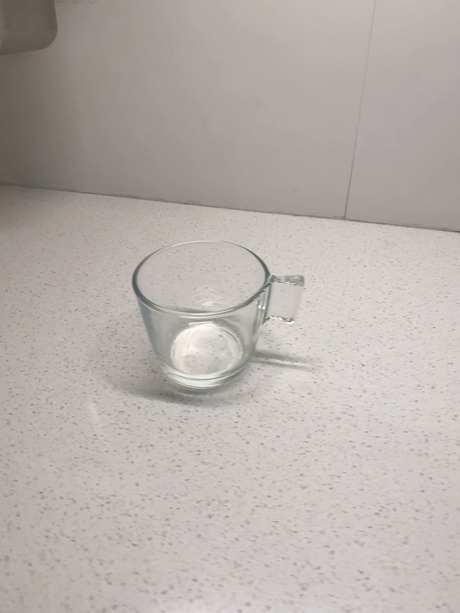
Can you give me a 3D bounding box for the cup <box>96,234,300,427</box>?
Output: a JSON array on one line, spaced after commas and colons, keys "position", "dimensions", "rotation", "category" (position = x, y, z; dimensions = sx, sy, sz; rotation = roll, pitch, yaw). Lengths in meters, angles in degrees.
[{"position": [-0.013, 0.012, 0.318], "dimensions": [0.110, 0.080, 0.090], "rotation": [5, 38, 8], "category": "cup"}]
